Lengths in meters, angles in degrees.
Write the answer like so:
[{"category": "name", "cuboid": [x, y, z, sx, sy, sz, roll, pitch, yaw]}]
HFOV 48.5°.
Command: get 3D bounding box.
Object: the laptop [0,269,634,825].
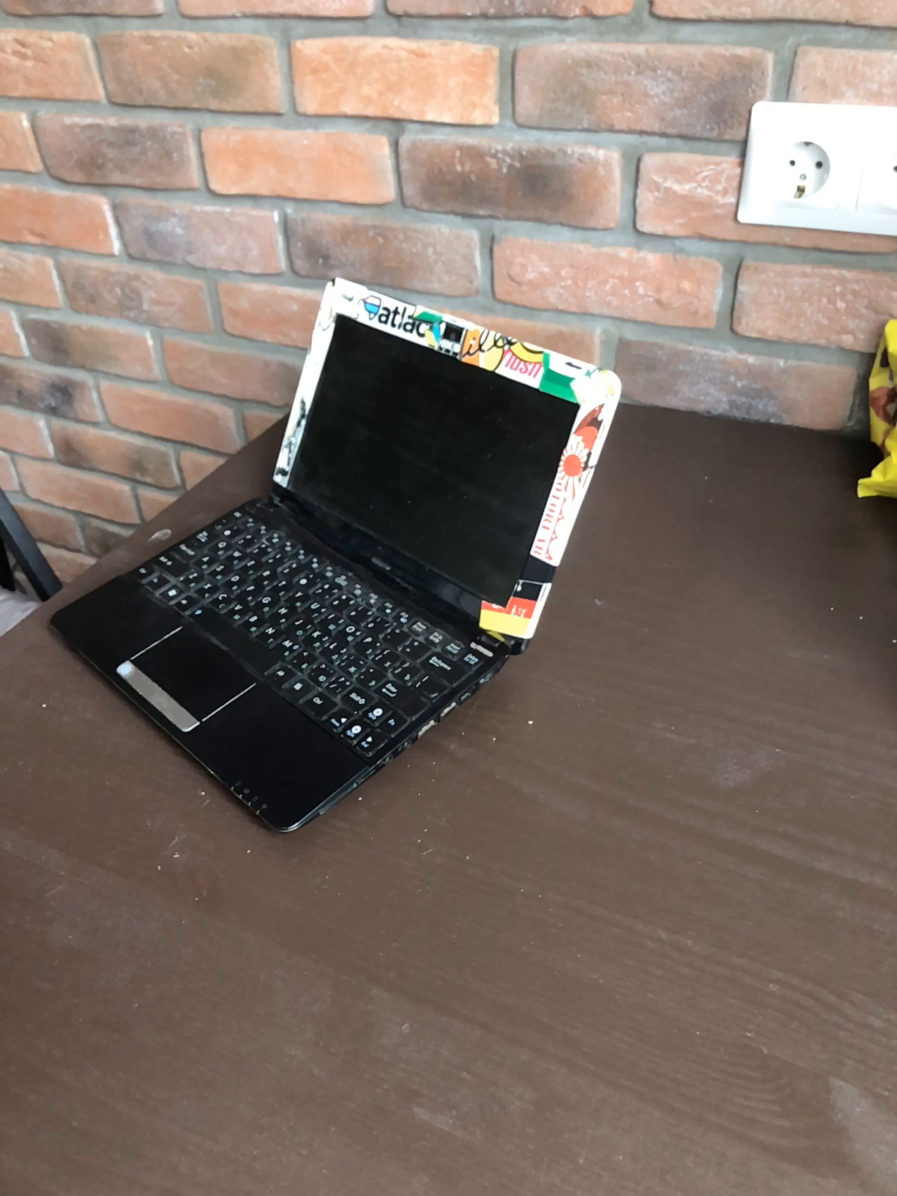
[{"category": "laptop", "cuboid": [-0.083, -0.059, 0.595, 0.268, 0.140, 0.258, -33, 45, -30]}]
